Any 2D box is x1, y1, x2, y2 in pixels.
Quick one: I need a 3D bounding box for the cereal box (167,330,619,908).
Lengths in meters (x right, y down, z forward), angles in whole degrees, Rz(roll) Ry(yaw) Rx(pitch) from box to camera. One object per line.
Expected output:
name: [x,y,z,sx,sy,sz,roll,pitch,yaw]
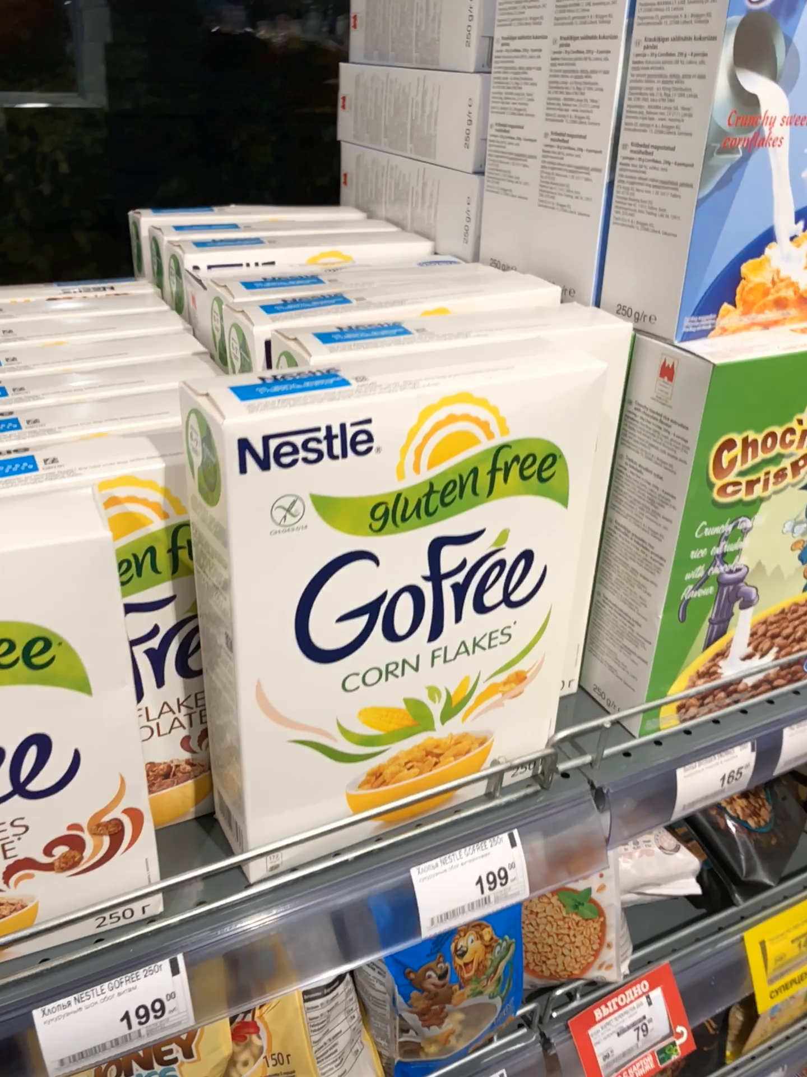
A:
cereal box: [-0.004,0.037,0.442,0.190,0.248,0.060,-14,32,-27]
